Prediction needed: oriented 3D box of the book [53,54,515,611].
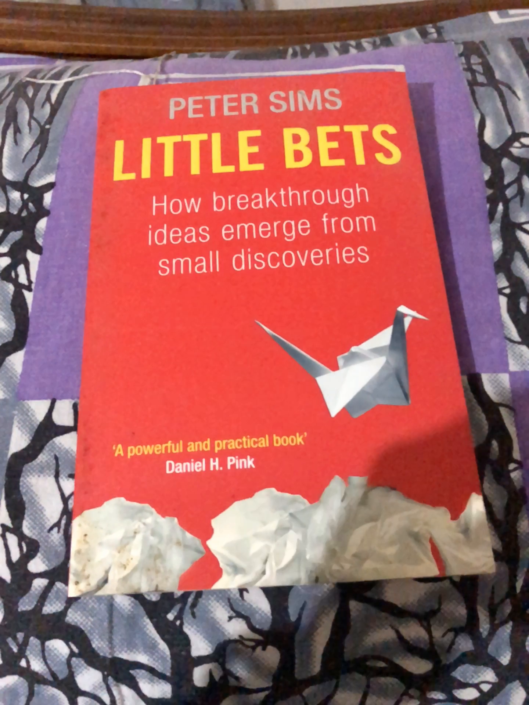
[{"bbox_3d":[0.000,-0.026,0.250,0.150,0.020,0.240,-4,66,3],"label":"book"}]
